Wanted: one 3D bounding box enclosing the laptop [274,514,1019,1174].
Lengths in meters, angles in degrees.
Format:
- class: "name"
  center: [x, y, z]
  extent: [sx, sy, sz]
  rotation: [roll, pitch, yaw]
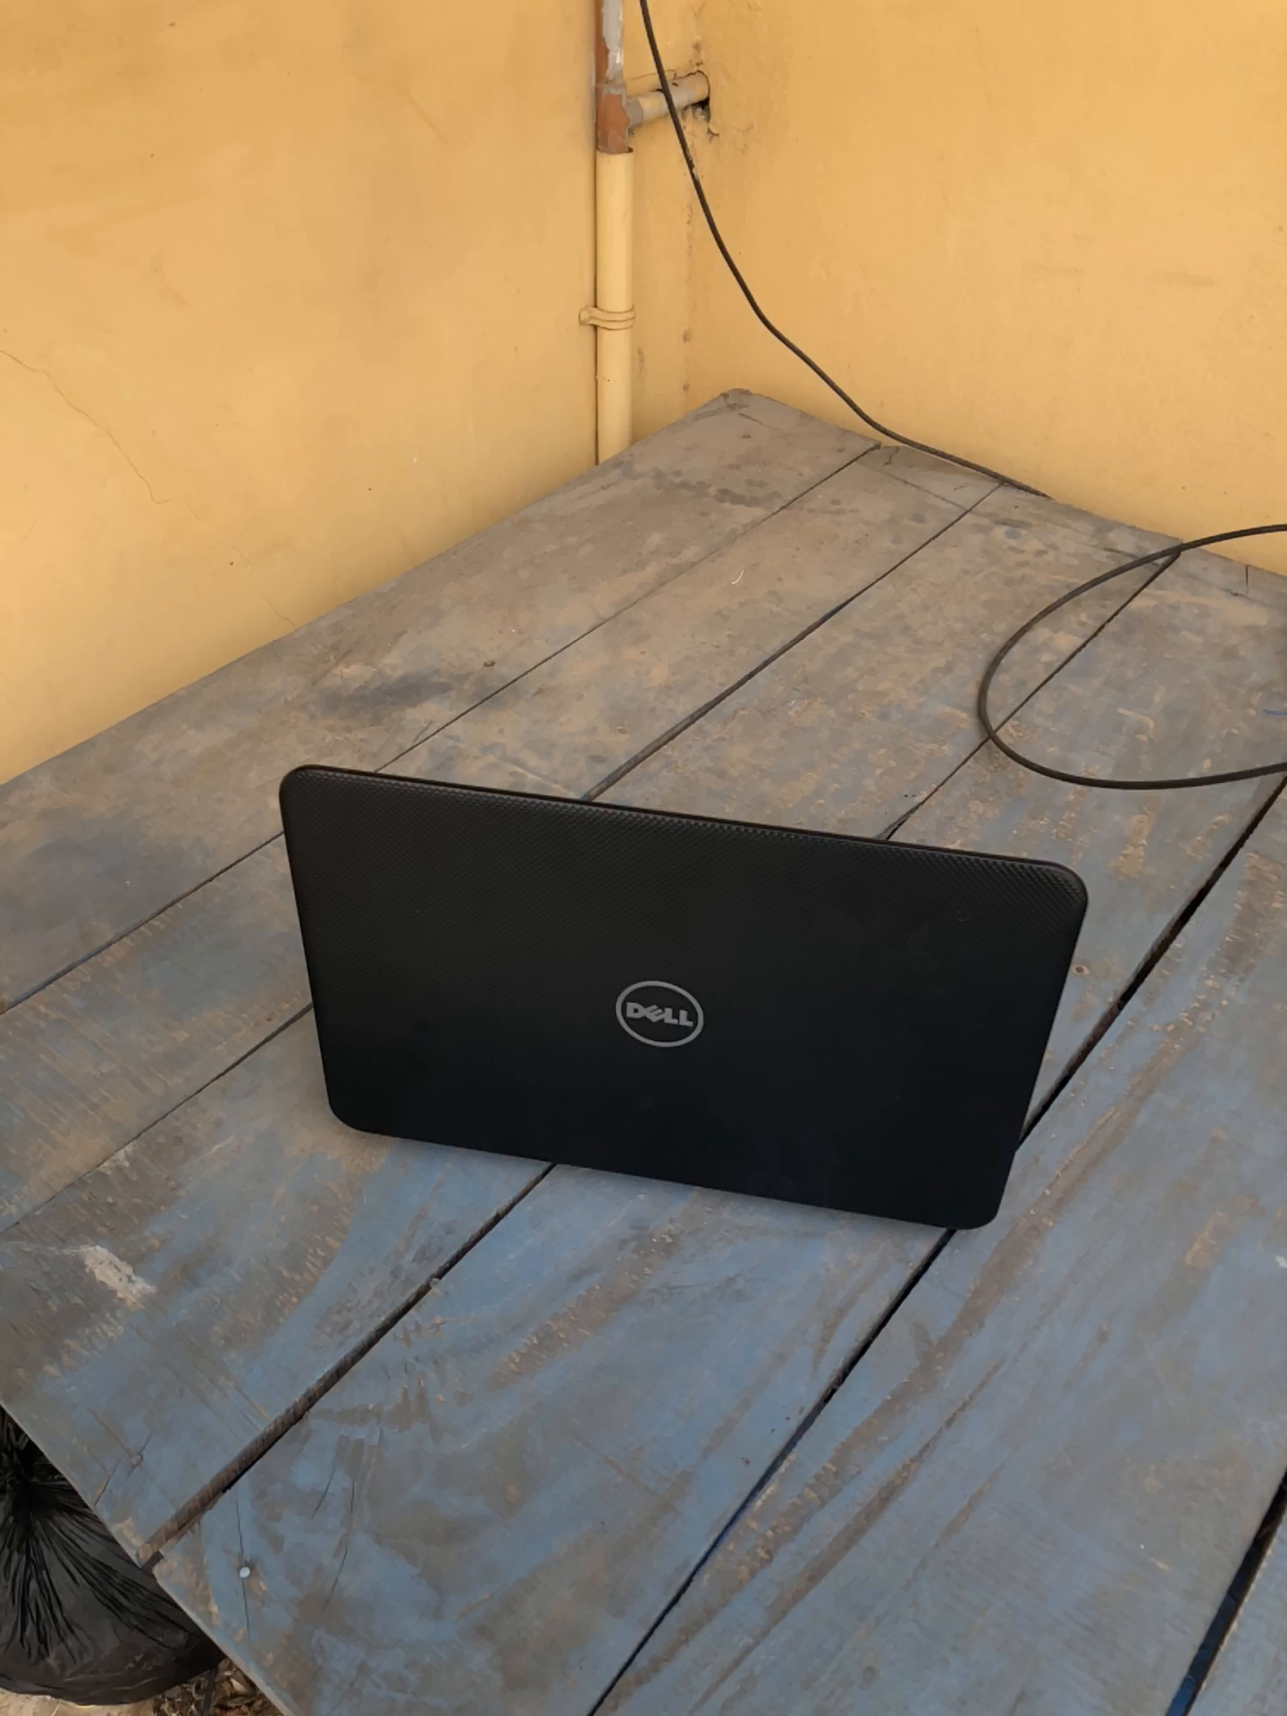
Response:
- class: "laptop"
  center: [0.018, -0.014, 0.794]
  extent: [0.340, 0.234, 0.226]
  rotation: [7, 42, 7]
